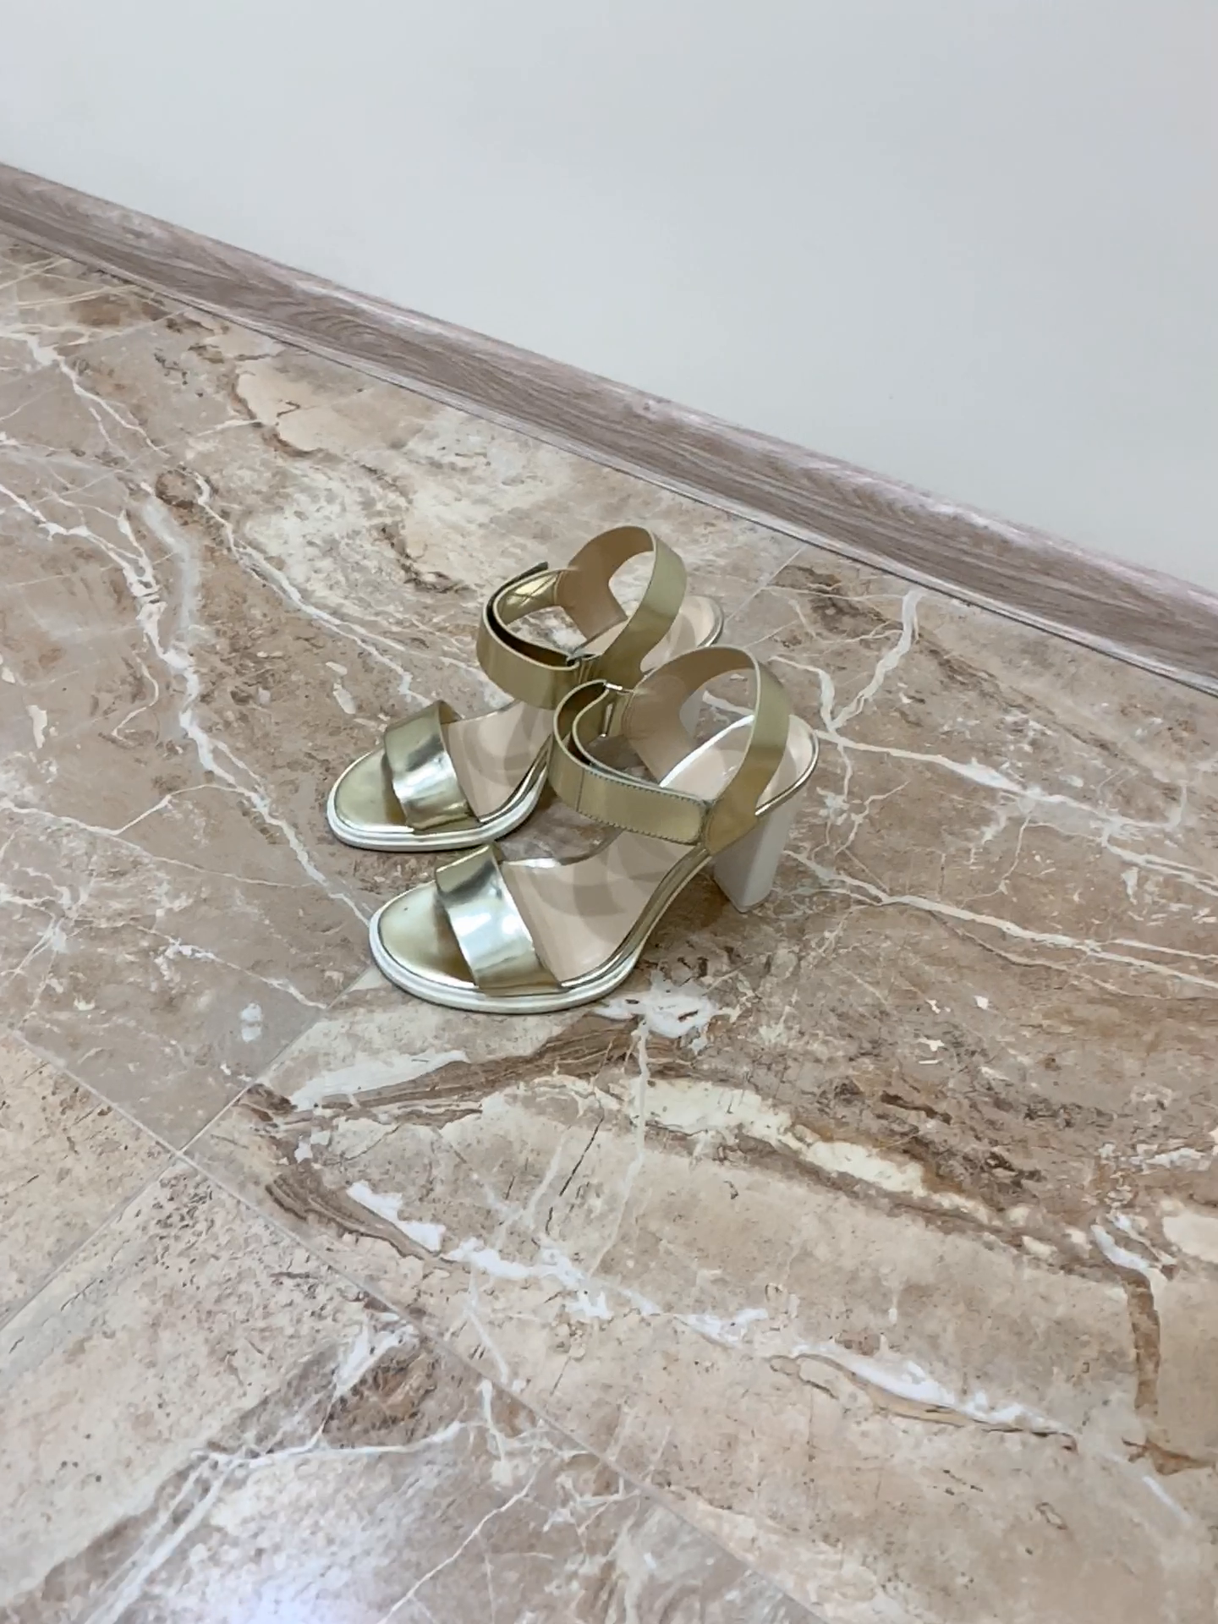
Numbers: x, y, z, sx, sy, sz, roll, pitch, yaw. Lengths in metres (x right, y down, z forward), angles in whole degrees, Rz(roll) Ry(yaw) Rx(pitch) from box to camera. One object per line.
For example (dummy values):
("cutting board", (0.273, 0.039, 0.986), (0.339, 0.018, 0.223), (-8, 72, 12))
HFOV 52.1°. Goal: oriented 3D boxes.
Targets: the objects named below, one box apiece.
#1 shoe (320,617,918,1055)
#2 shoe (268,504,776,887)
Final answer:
("shoe", (0.000, 0.007, 0.562), (0.230, 0.119, 0.100), (-11, 47, -16))
("shoe", (-0.045, -0.061, 0.630), (0.220, 0.129, 0.096), (-11, 47, -16))
